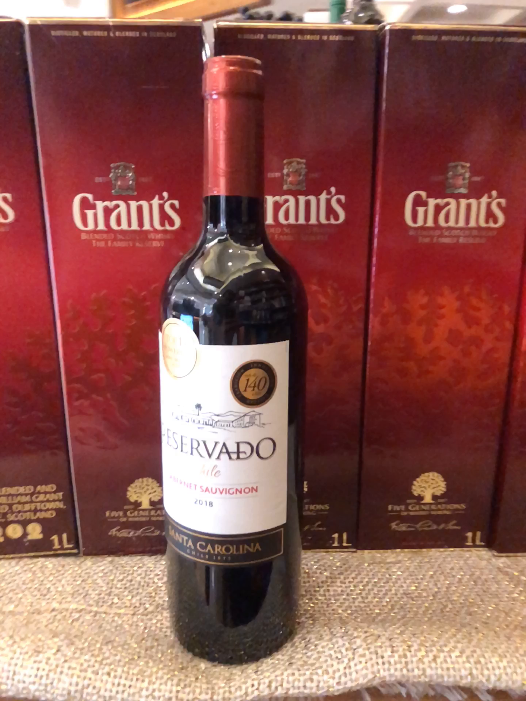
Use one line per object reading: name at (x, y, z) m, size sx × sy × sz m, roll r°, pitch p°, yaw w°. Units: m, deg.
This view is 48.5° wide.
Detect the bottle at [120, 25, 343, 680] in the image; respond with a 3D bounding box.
bottle at (-0.012, 0.009, 0.290) m, size 0.080 × 0.289 × 0.070 m, roll 5°, pitch 15°, yaw 13°
